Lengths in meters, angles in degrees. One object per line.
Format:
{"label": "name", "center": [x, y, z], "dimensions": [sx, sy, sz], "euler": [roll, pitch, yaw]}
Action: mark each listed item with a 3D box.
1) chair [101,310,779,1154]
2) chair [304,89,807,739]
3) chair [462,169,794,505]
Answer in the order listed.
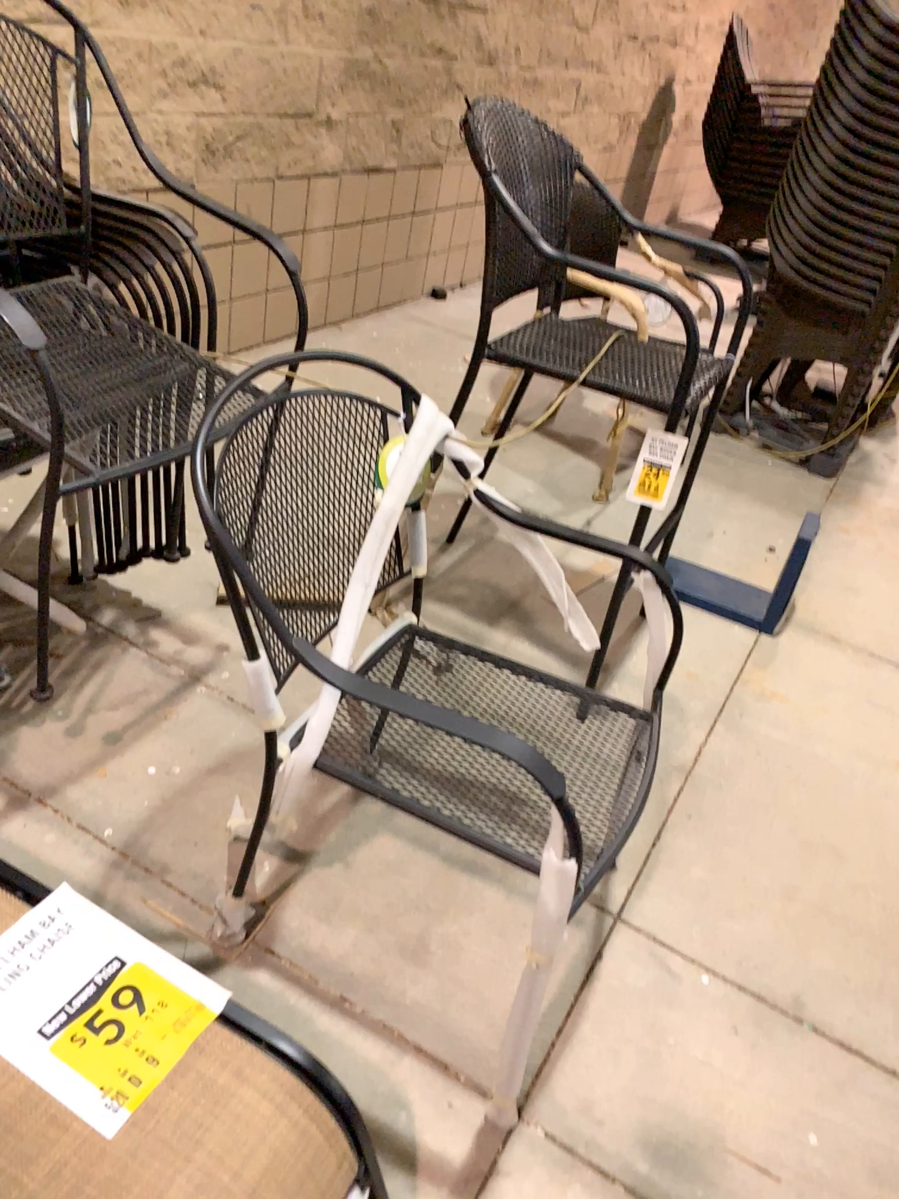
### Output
{"label": "chair", "center": [-0.023, 0.153, 1.320], "dimensions": [0.638, 0.869, 0.577], "euler": [20, 34, 15]}
{"label": "chair", "center": [0.191, -0.431, 2.036], "dimensions": [0.709, 1.128, 0.637], "euler": [23, 34, 19]}
{"label": "chair", "center": [0.550, -0.876, 2.950], "dimensions": [0.629, 0.820, 0.646], "euler": [32, 38, 30]}
